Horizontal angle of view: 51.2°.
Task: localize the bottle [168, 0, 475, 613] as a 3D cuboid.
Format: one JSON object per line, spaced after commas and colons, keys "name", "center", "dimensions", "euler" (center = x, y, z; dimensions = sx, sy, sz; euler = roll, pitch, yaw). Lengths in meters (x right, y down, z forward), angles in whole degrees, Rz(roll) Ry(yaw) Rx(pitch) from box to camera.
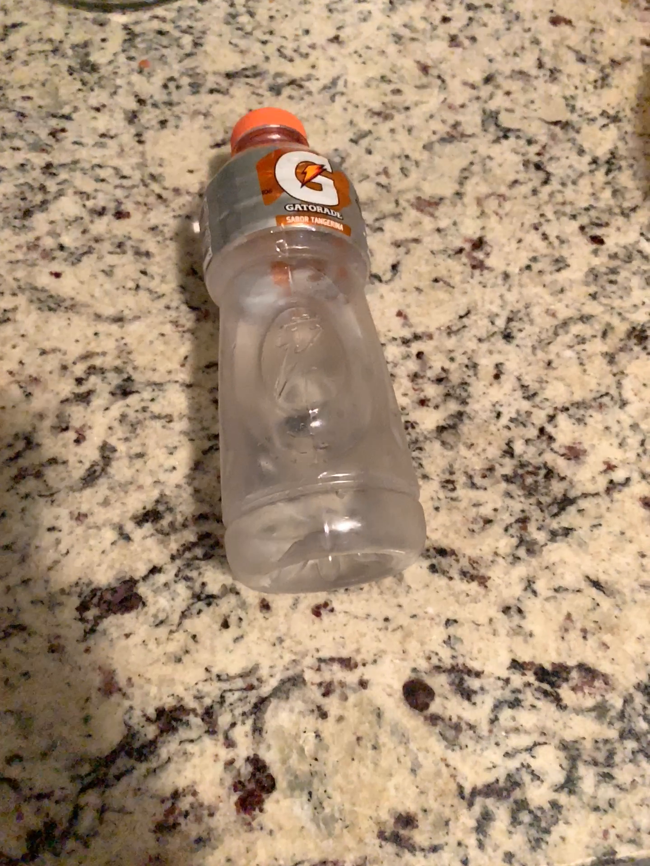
{"name": "bottle", "center": [-0.012, -0.055, 0.253], "dimensions": [0.070, 0.070, 0.220], "euler": [-7, 66, -5]}
